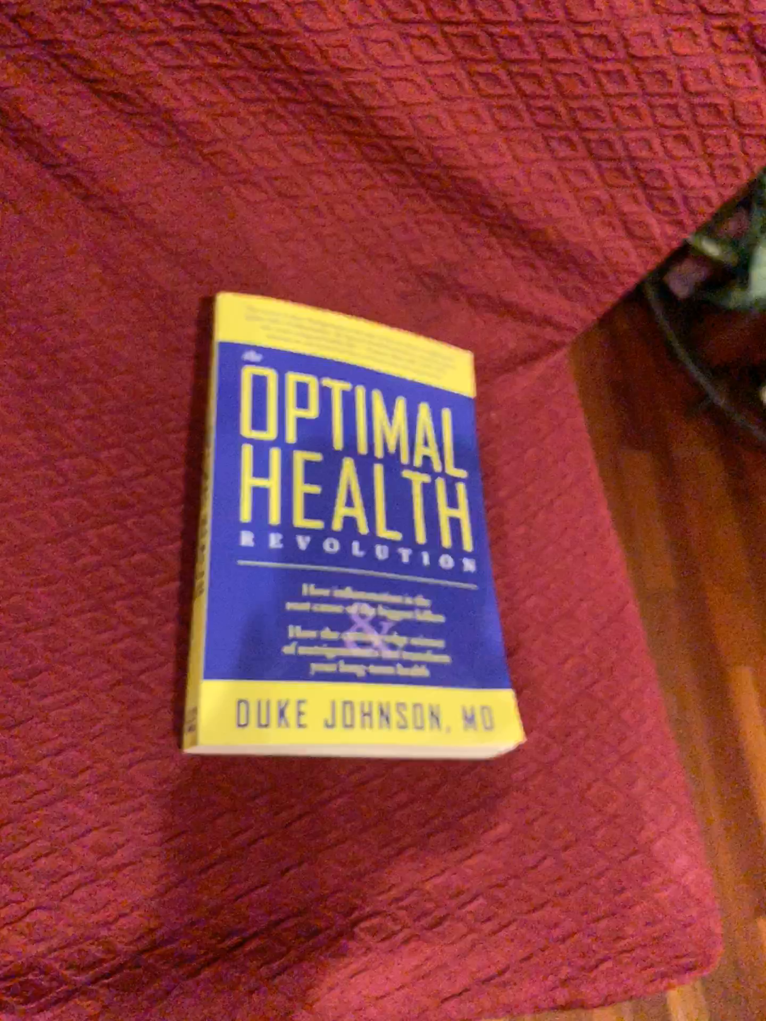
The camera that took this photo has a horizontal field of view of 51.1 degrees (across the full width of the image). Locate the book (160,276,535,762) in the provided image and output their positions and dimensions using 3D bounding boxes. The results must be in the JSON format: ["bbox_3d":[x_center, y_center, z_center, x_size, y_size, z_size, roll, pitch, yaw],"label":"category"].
[{"bbox_3d":[-0.017,0.009,0.410,0.161,0.060,0.222,9,65,-24],"label":"book"}]
